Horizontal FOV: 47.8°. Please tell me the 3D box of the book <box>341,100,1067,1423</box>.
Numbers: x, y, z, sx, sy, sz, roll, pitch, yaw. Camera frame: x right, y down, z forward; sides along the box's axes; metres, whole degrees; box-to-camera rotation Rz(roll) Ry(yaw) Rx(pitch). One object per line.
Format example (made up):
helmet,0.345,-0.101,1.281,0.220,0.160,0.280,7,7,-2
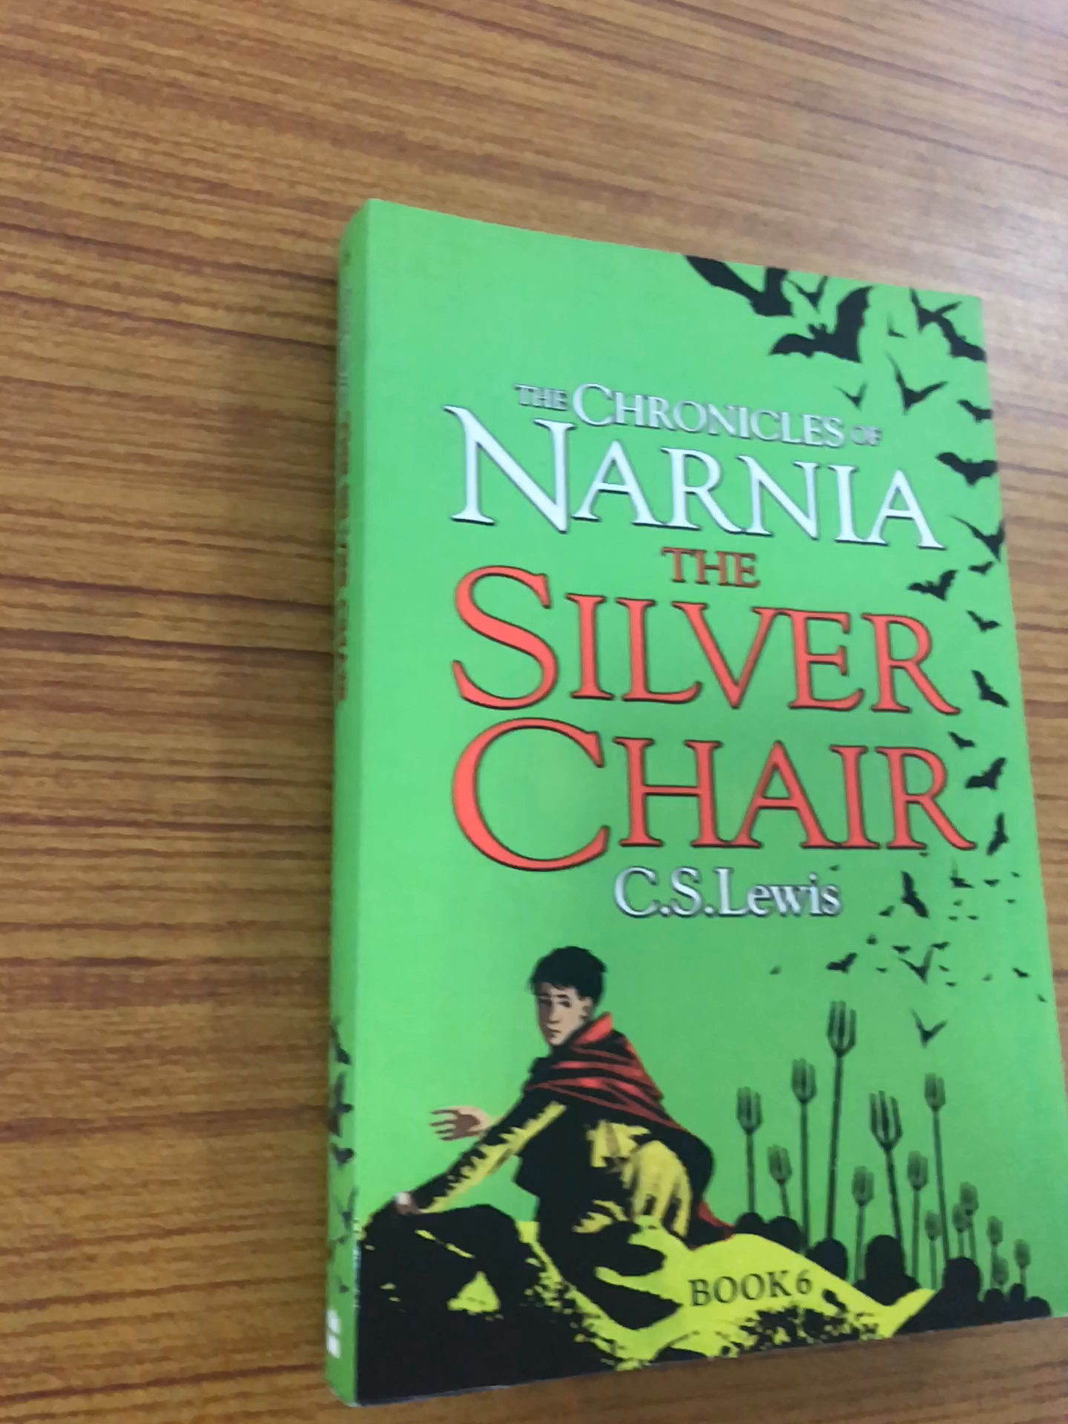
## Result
book,0.038,0.005,0.220,0.140,0.030,0.210,3,78,-19
